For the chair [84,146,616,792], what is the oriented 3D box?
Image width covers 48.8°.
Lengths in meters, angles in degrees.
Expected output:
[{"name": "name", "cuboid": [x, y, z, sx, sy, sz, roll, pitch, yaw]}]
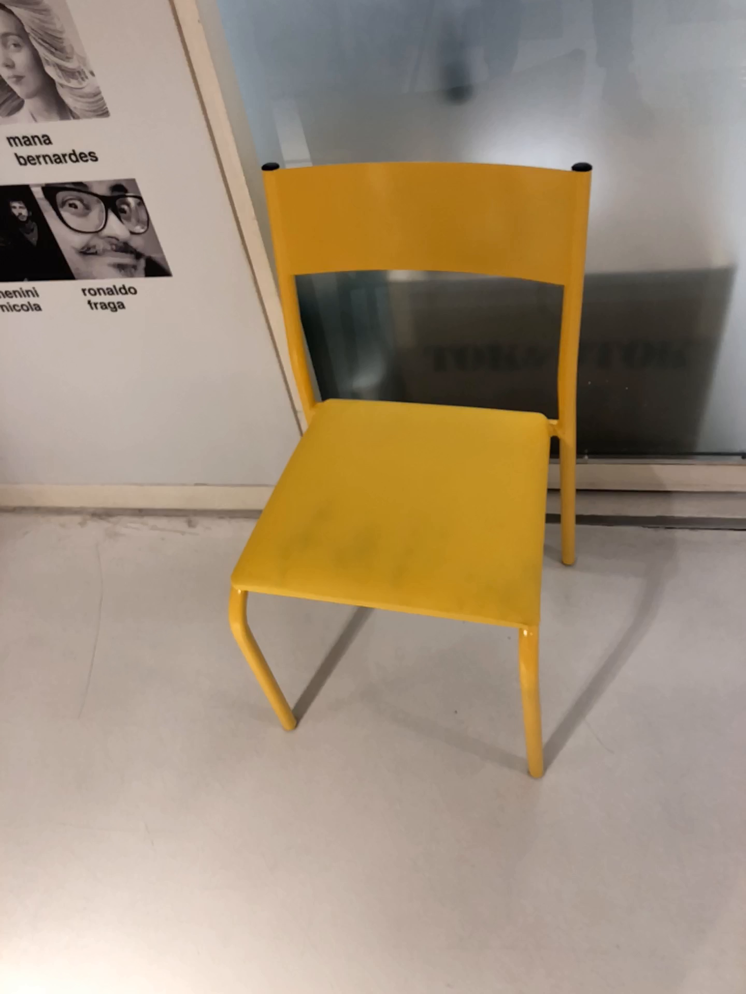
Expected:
[{"name": "chair", "cuboid": [0.061, -0.010, 1.226, 0.490, 0.786, 0.523, 6, 51, 16]}]
